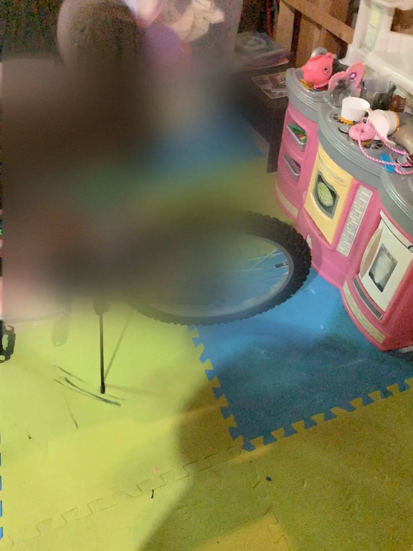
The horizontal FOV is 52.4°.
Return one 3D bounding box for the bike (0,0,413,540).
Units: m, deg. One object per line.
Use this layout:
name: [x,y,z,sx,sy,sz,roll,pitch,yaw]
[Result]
bike: [-0.378,-0.021,0.891,1.268,0.841,0.536,-14,49,-6]
